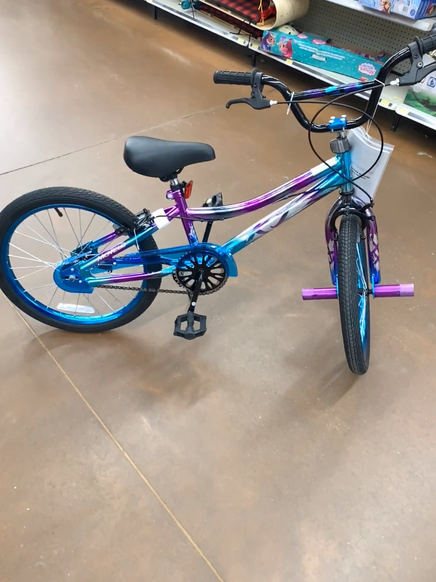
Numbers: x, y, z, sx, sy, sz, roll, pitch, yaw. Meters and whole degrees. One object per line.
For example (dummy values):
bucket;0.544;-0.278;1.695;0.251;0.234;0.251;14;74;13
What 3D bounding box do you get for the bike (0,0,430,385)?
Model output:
bike;-0.165;-0.281;1.184;0.933;0.931;0.580;5;45;-3
